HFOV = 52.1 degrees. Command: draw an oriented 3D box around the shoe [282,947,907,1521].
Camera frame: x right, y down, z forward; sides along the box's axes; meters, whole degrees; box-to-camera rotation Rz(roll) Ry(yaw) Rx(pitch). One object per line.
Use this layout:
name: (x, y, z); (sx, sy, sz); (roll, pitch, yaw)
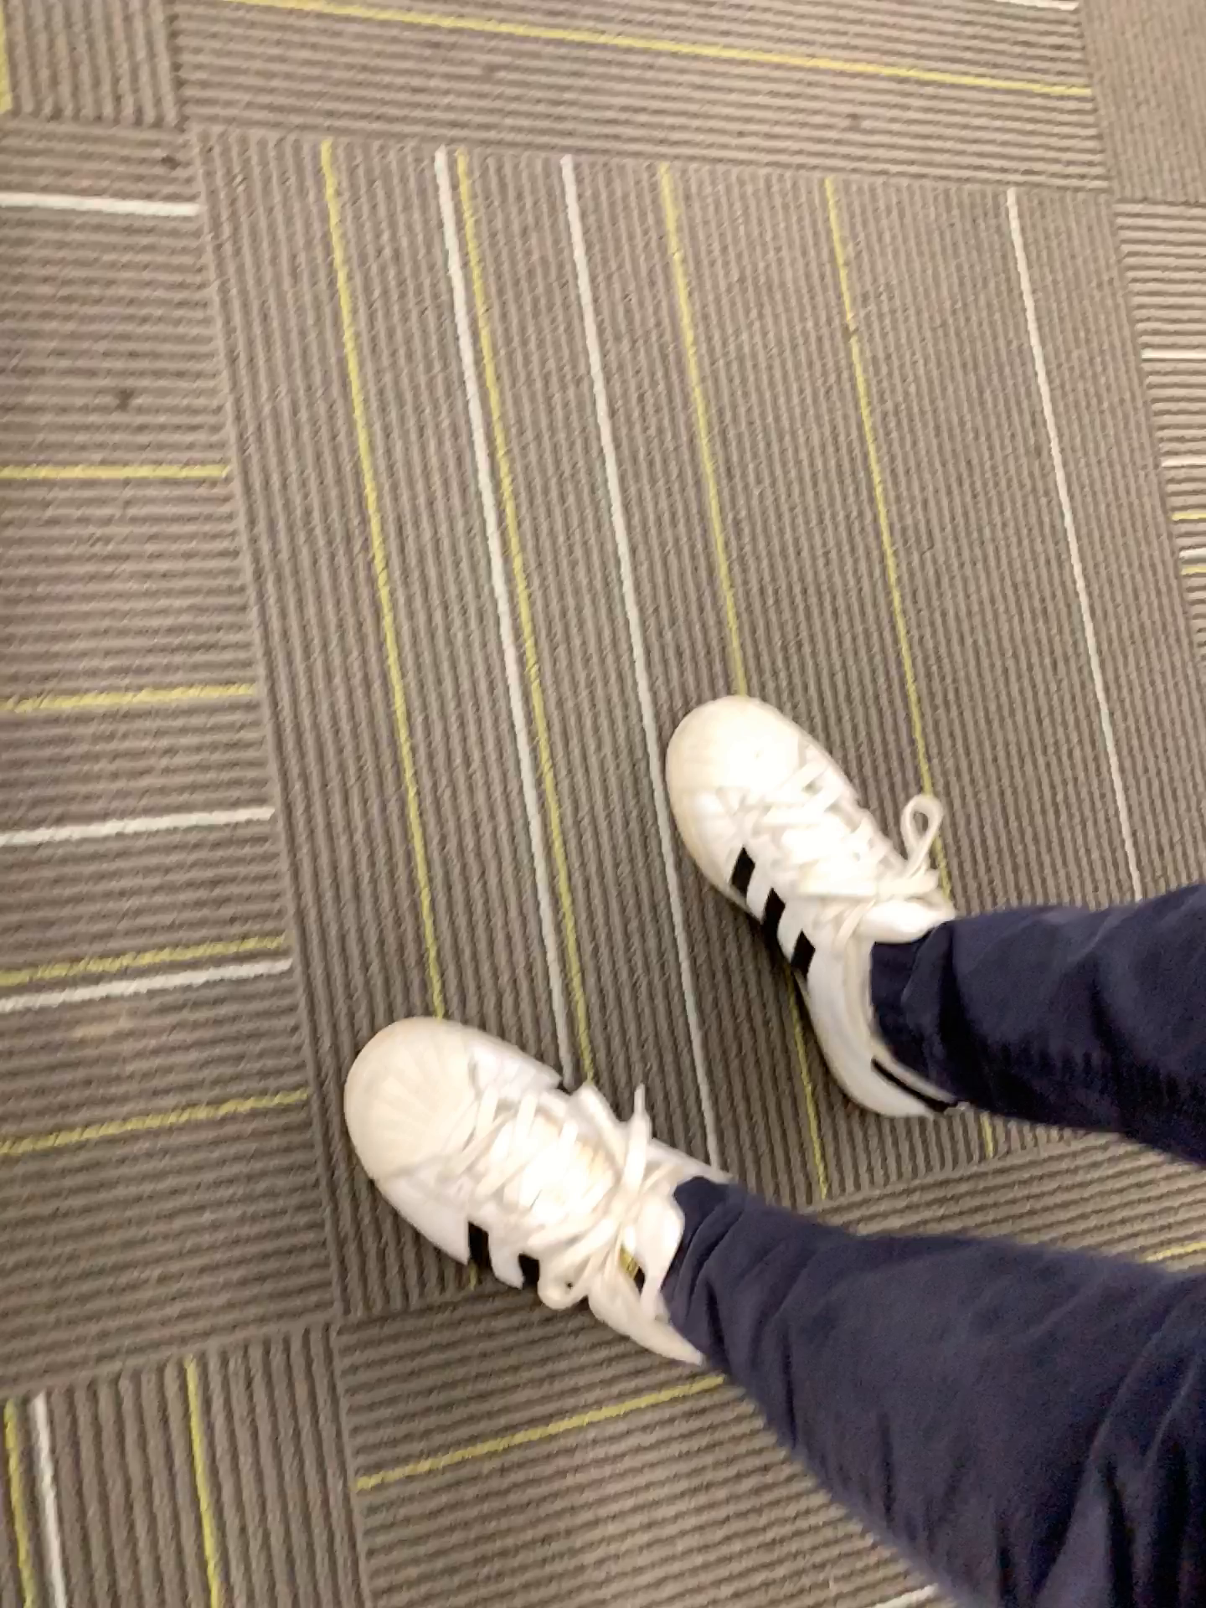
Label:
shoe: (-0.007, 0.193, 0.577); (0.262, 0.104, 0.108); (41, 72, -10)

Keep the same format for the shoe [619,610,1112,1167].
shoe: (0.135, 0.046, 0.655); (0.105, 0.104, 0.258); (-33, 94, -20)
